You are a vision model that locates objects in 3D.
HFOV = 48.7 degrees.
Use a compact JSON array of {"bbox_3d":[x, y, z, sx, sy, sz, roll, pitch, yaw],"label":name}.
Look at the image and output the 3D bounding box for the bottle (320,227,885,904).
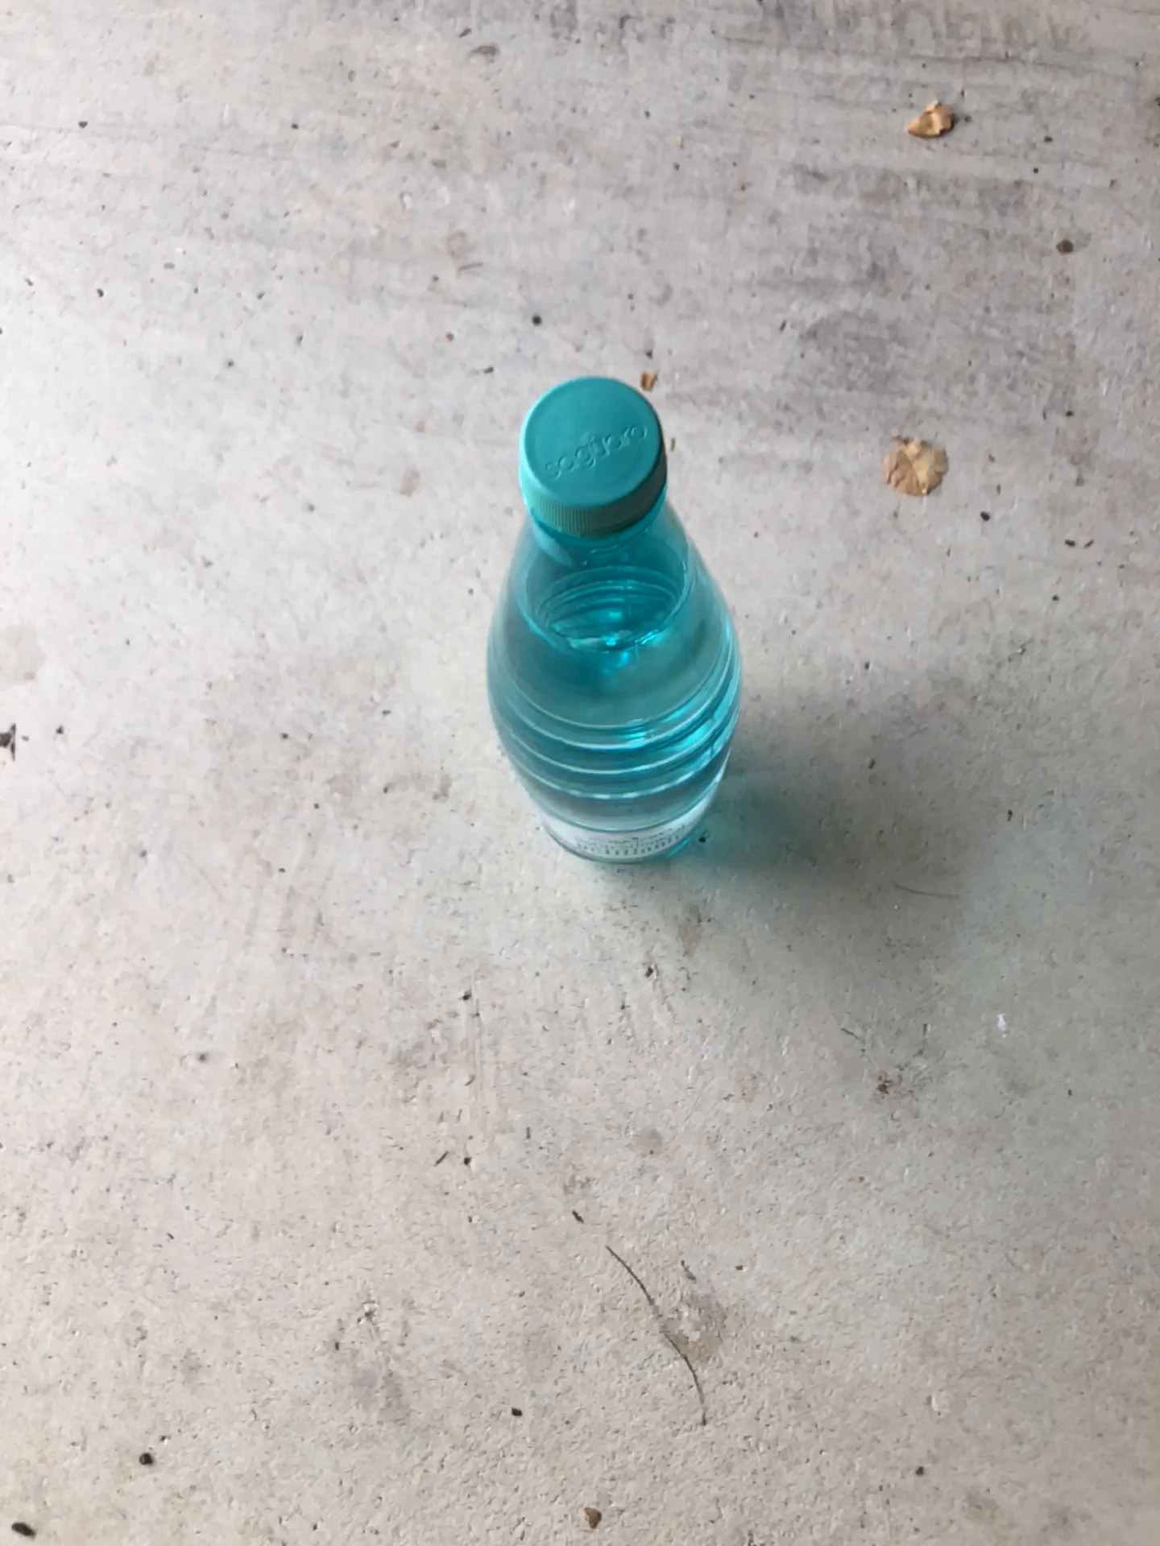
[{"bbox_3d":[0.008,-0.025,0.396,0.100,0.320,0.090,-4,78,1],"label":"bottle"}]
